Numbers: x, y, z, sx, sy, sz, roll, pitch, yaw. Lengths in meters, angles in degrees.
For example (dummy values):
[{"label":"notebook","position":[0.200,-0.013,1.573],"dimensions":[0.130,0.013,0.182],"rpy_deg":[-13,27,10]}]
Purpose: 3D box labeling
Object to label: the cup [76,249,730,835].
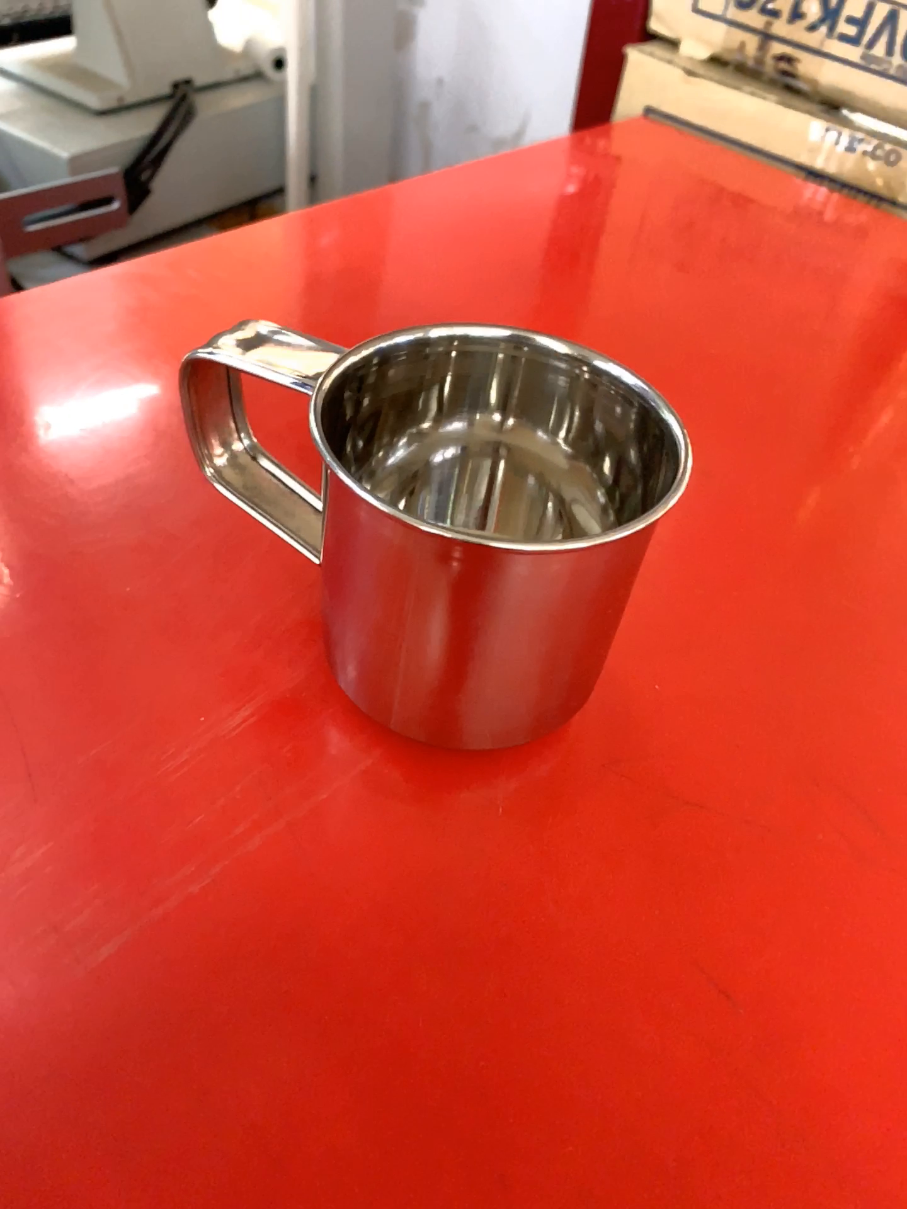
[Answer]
[{"label":"cup","position":[-0.009,-0.020,0.219],"dimensions":[0.110,0.069,0.081],"rpy_deg":[22,46,14]}]
